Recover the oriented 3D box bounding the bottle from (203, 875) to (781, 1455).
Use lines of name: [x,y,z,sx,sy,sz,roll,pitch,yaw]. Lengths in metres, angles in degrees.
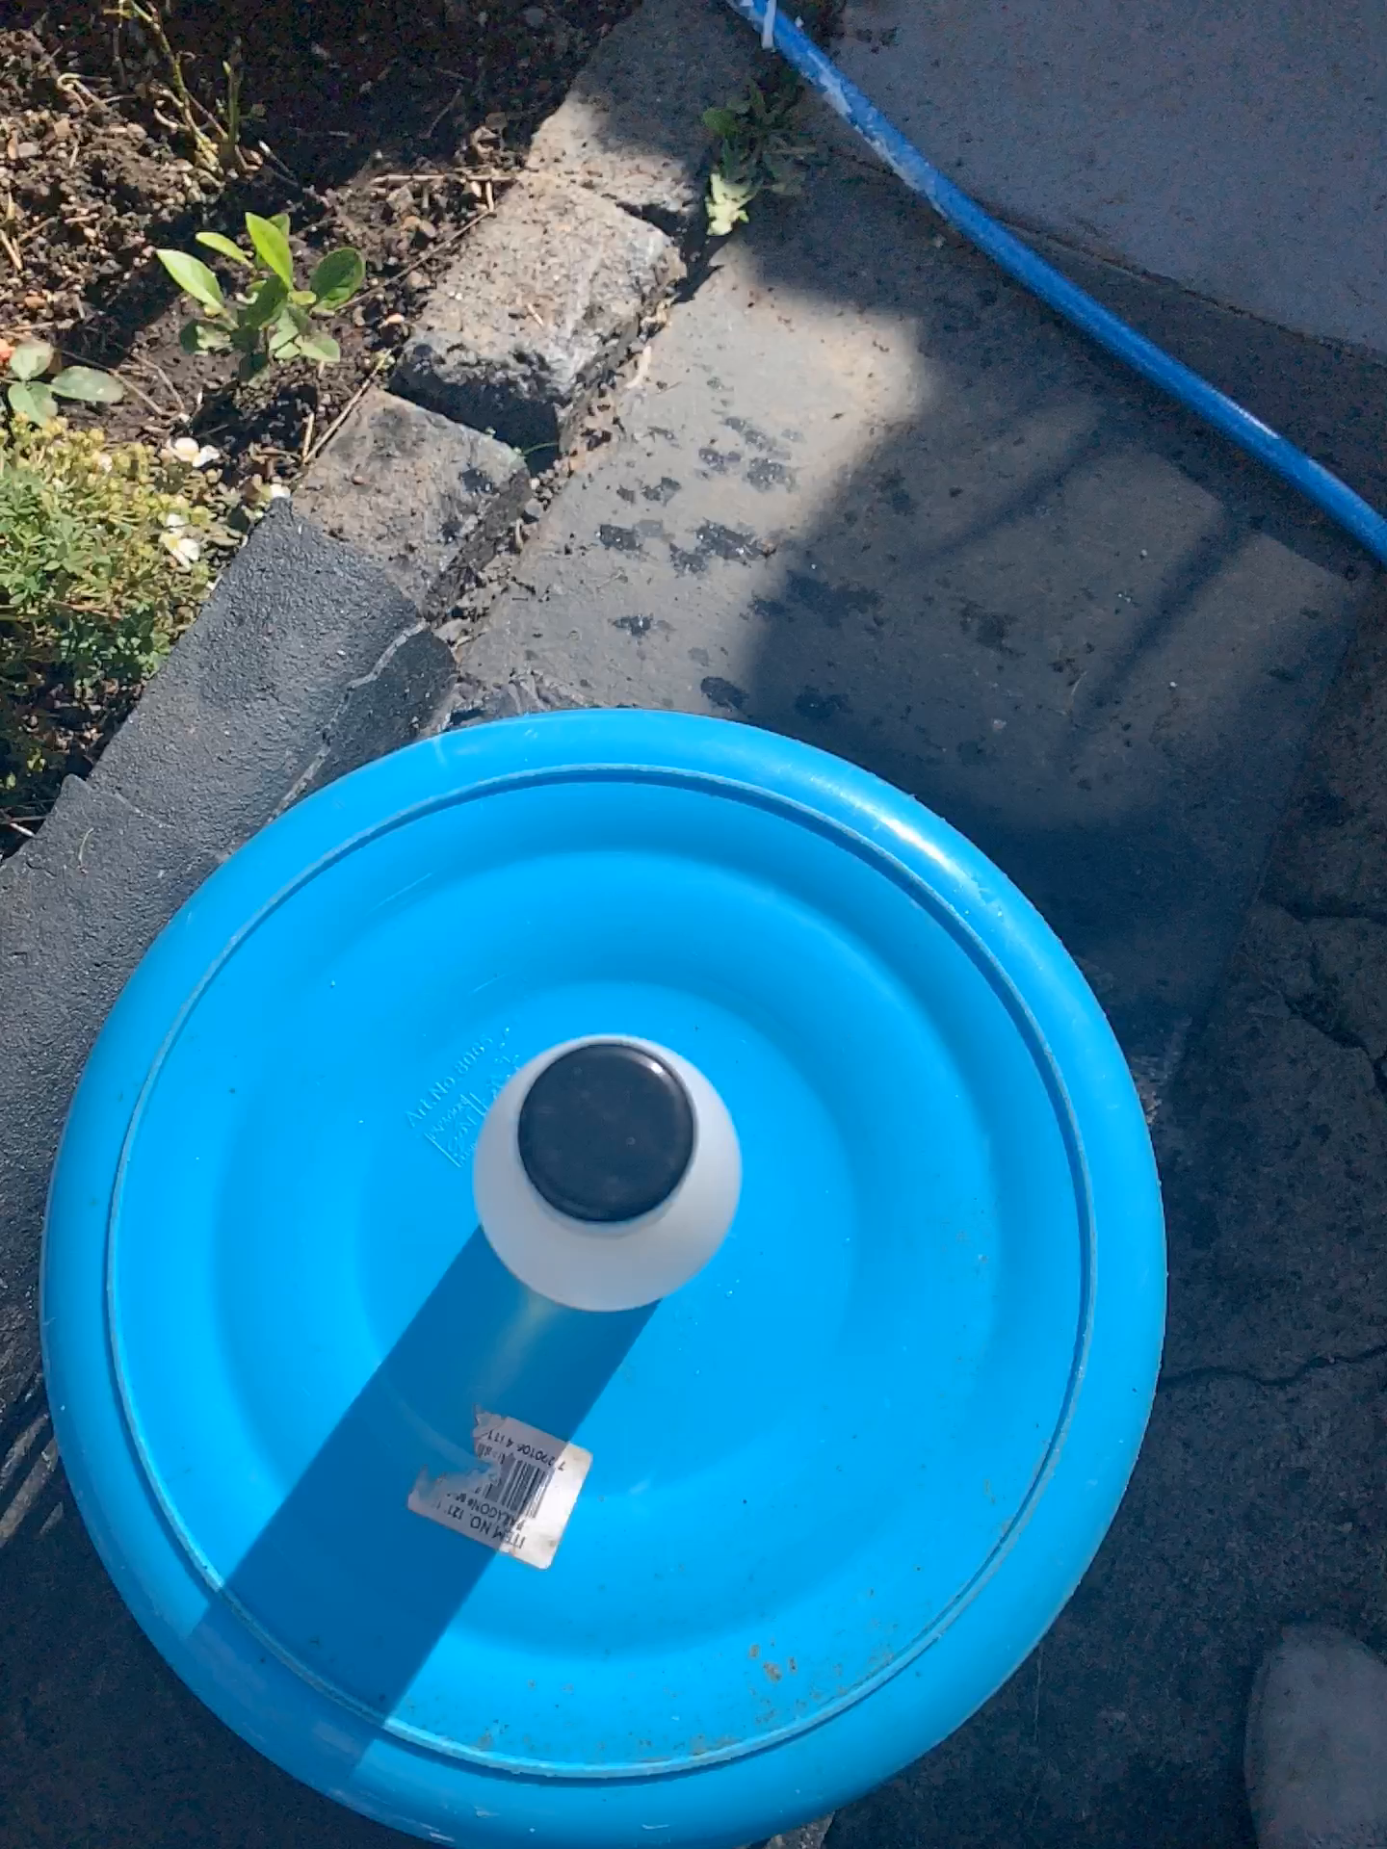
bottle: [-0.027,0.056,0.291,0.060,0.179,0.060,0,75,1]
